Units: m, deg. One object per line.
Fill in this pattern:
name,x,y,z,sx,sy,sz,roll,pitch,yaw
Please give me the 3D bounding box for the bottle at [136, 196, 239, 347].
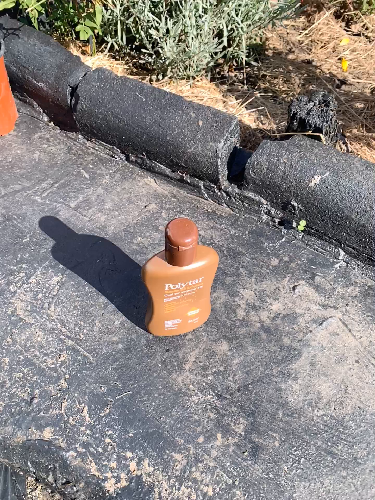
bottle,-0.003,0.027,0.355,0.070,0.149,0.040,-15,52,-15
